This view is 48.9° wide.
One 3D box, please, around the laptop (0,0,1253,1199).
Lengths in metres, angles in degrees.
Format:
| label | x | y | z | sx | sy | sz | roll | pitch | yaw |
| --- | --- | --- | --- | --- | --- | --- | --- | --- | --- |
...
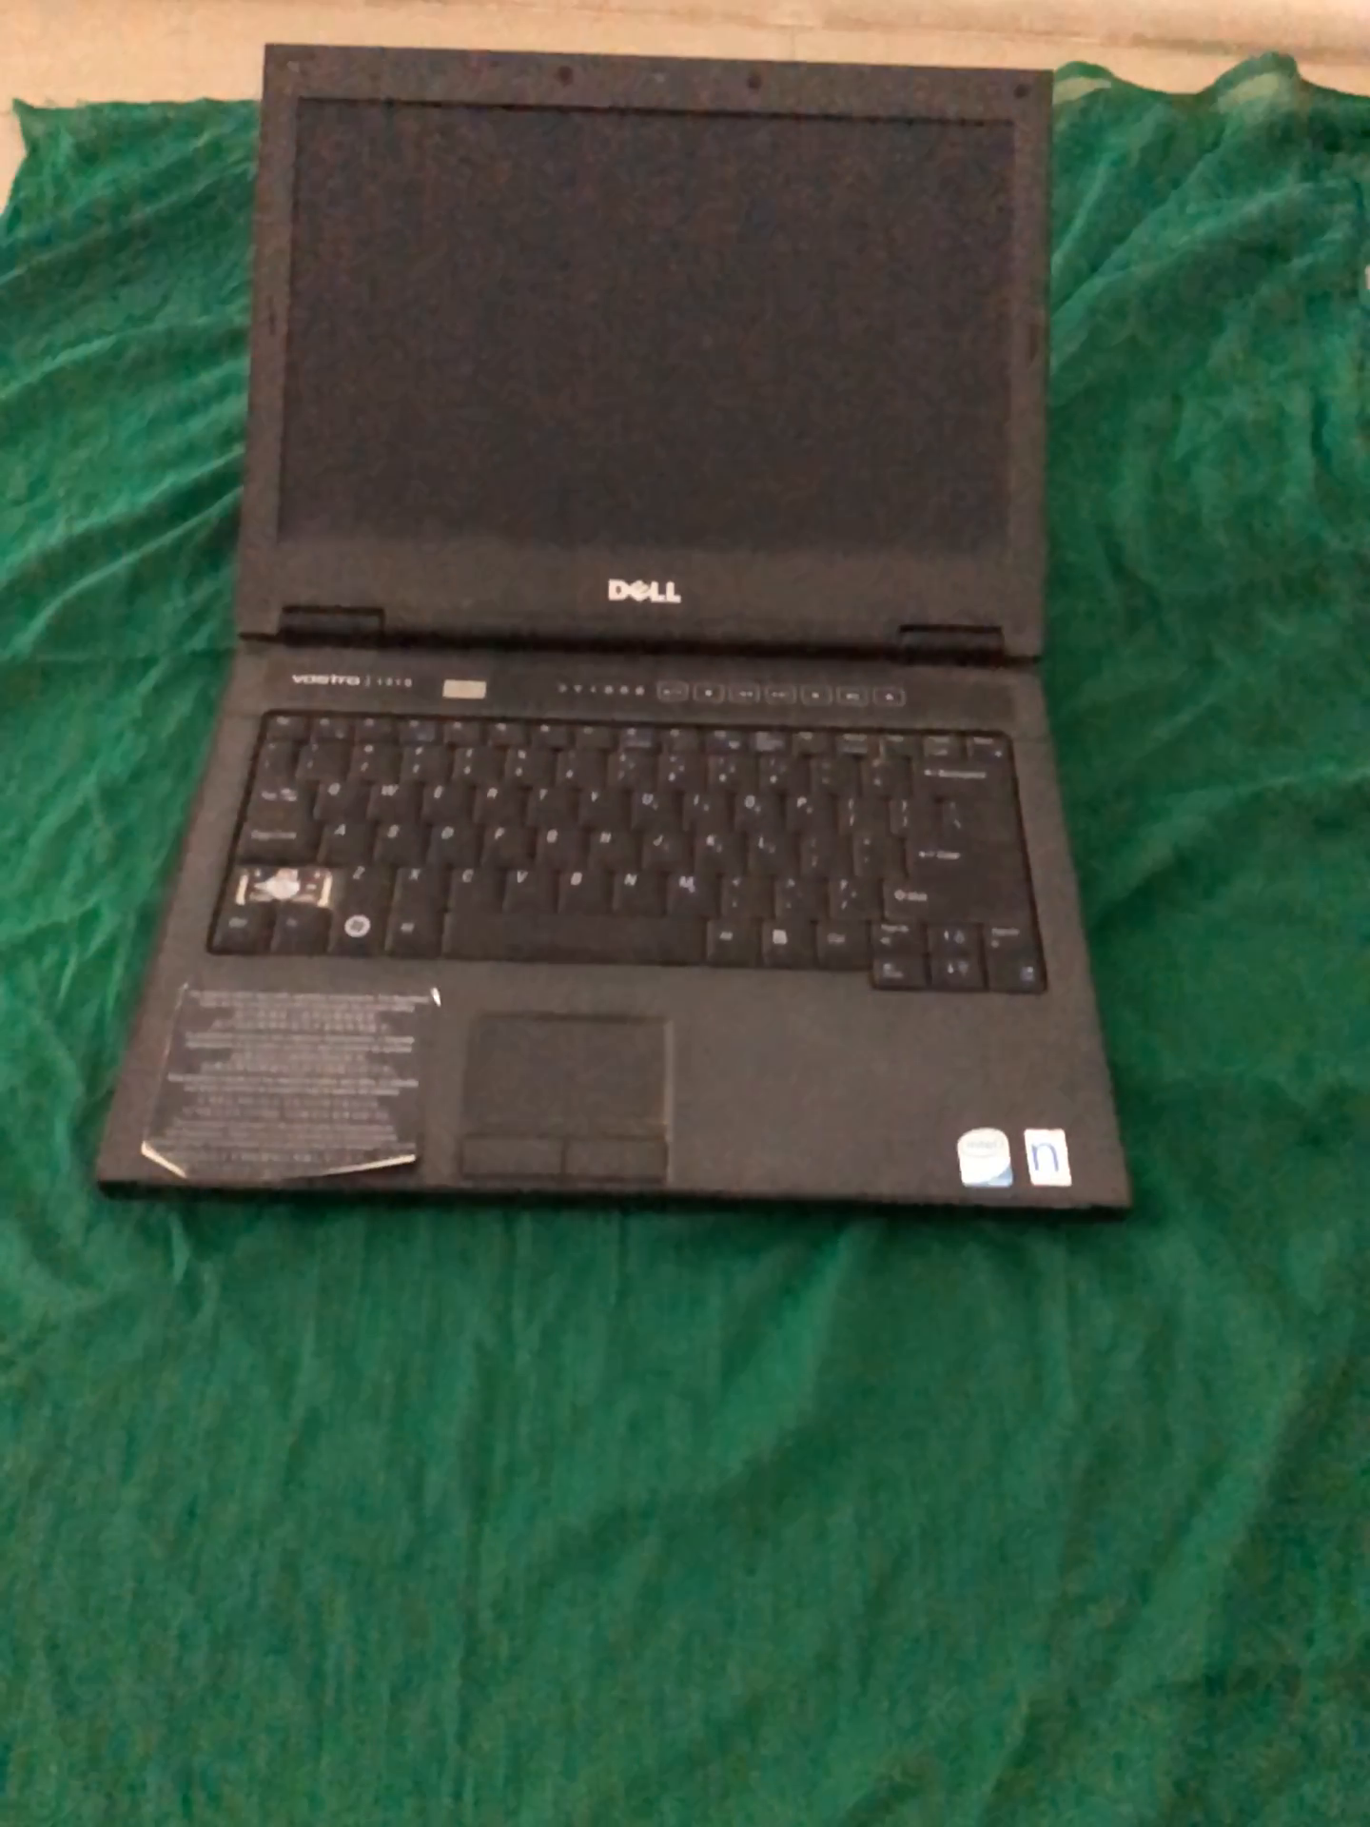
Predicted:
| label | x | y | z | sx | sy | sz | roll | pitch | yaw |
| --- | --- | --- | --- | --- | --- | --- | --- | --- | --- |
| laptop | -0.015 | -0.139 | 0.525 | 0.313 | 0.126 | 0.440 | 1 | 58 | 1 |
